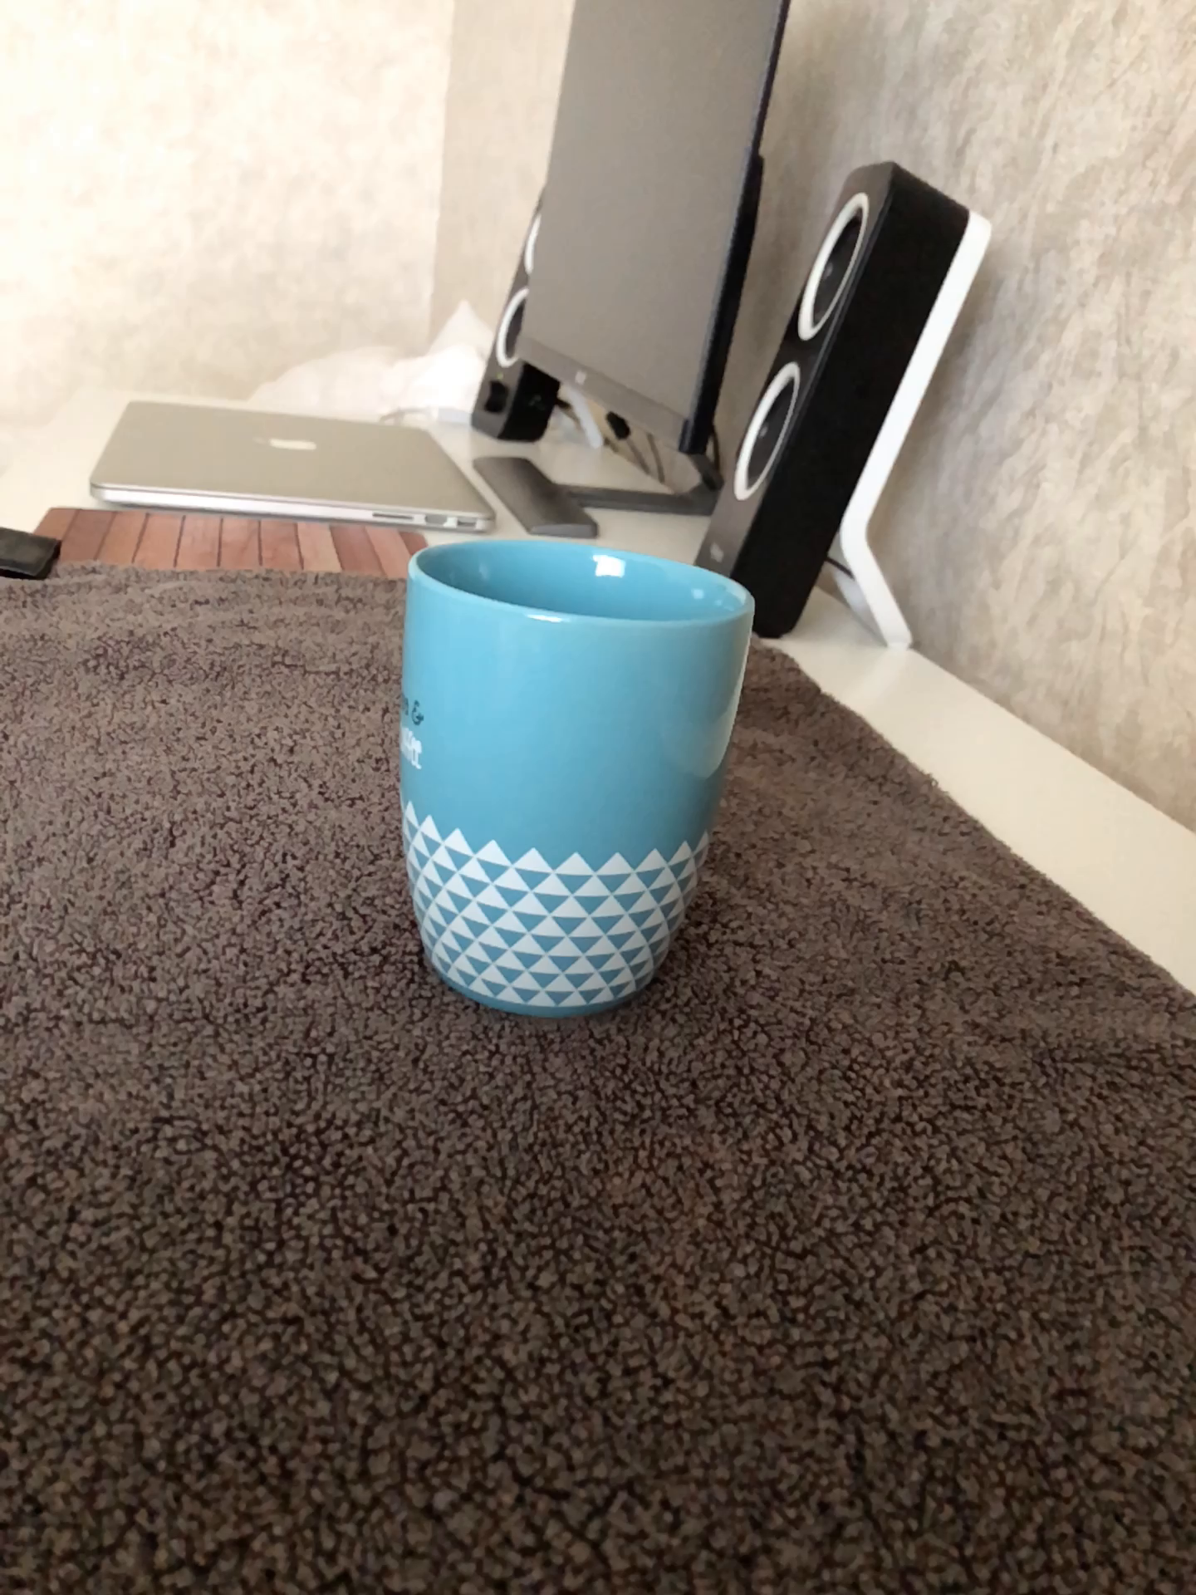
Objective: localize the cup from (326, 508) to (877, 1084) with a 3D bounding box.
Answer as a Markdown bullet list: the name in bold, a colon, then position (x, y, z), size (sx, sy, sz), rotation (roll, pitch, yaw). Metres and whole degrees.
- **cup**: position (-0.011, -0.009, 0.317), size (0.087, 0.090, 0.126), rotation (-1, 23, -20)
